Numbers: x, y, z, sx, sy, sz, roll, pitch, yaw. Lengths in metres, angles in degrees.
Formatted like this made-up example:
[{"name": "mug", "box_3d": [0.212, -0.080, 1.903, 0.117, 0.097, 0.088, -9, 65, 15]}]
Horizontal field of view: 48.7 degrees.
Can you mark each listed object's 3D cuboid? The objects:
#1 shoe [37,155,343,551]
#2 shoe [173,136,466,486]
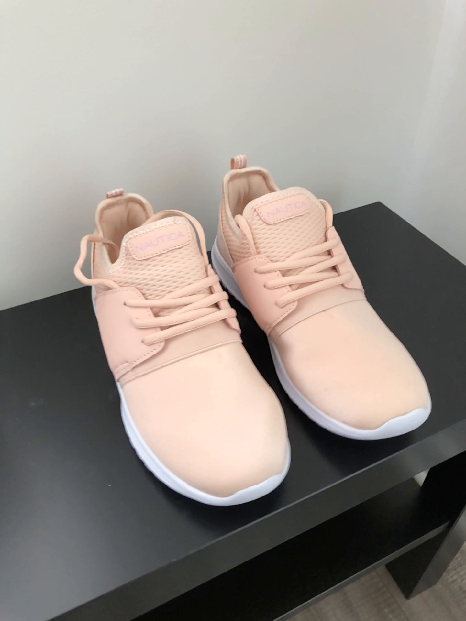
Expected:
[{"name": "shoe", "box_3d": [-0.047, 0.005, 0.354, 0.100, 0.110, 0.251, -18, 45, -19]}, {"name": "shoe", "box_3d": [0.050, -0.020, 0.376, 0.100, 0.110, 0.241, -18, 45, -19]}]
